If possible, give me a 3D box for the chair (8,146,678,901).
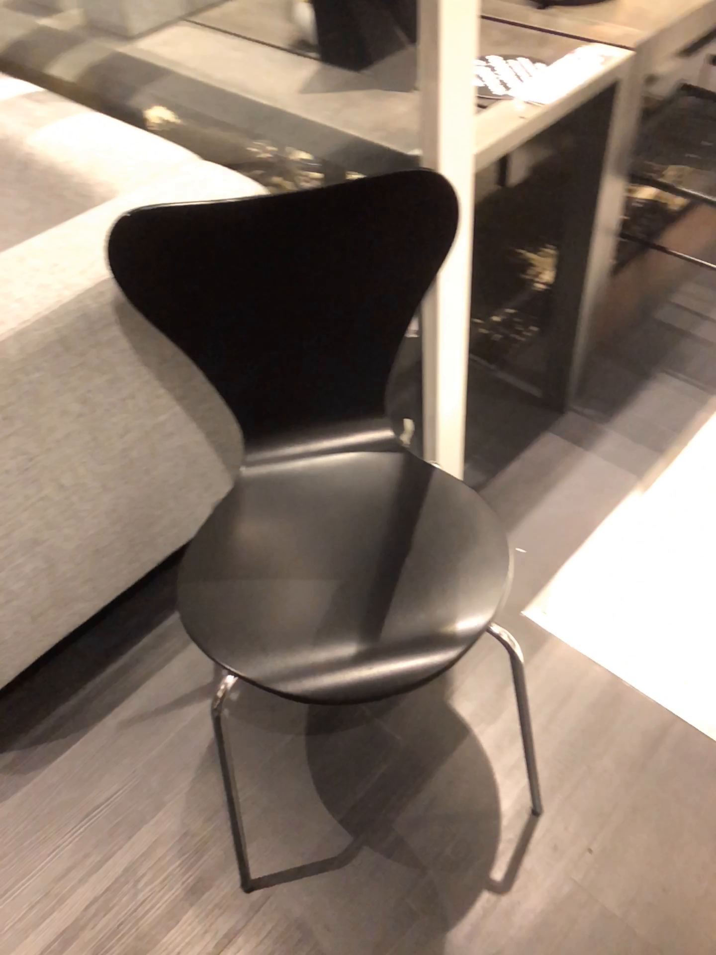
[{"bbox_3d":[-0.025,0.111,1.026,0.490,0.804,0.504,-12,48,-5],"label":"chair"}]
